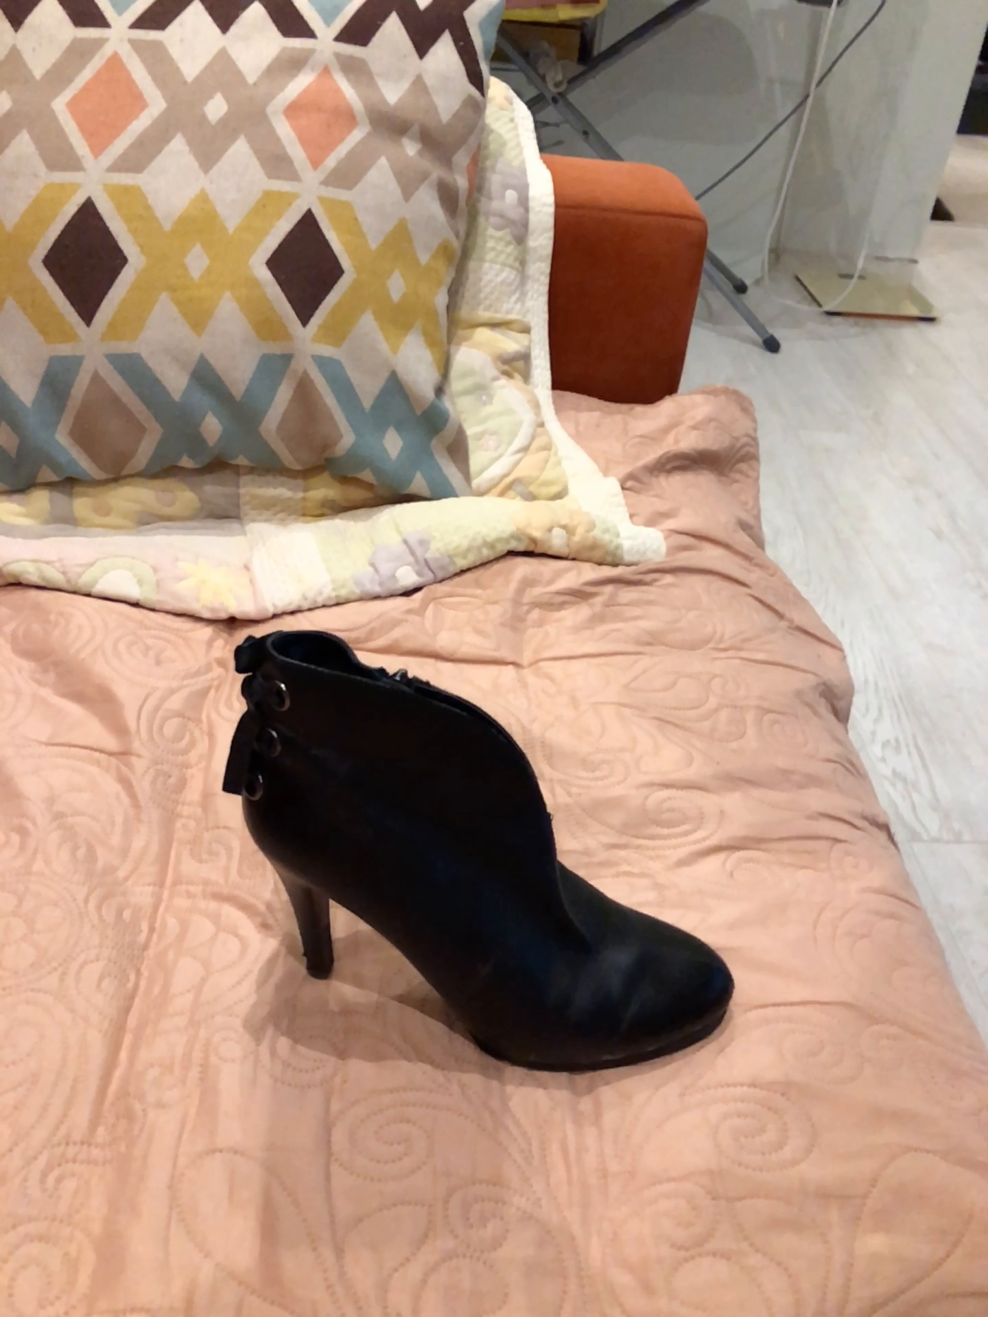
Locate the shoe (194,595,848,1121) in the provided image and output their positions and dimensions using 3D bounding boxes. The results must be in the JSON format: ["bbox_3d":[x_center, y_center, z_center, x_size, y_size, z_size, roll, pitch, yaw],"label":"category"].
[{"bbox_3d":[0.005,0.085,0.449,0.220,0.169,0.096,8,36,2],"label":"shoe"}]
